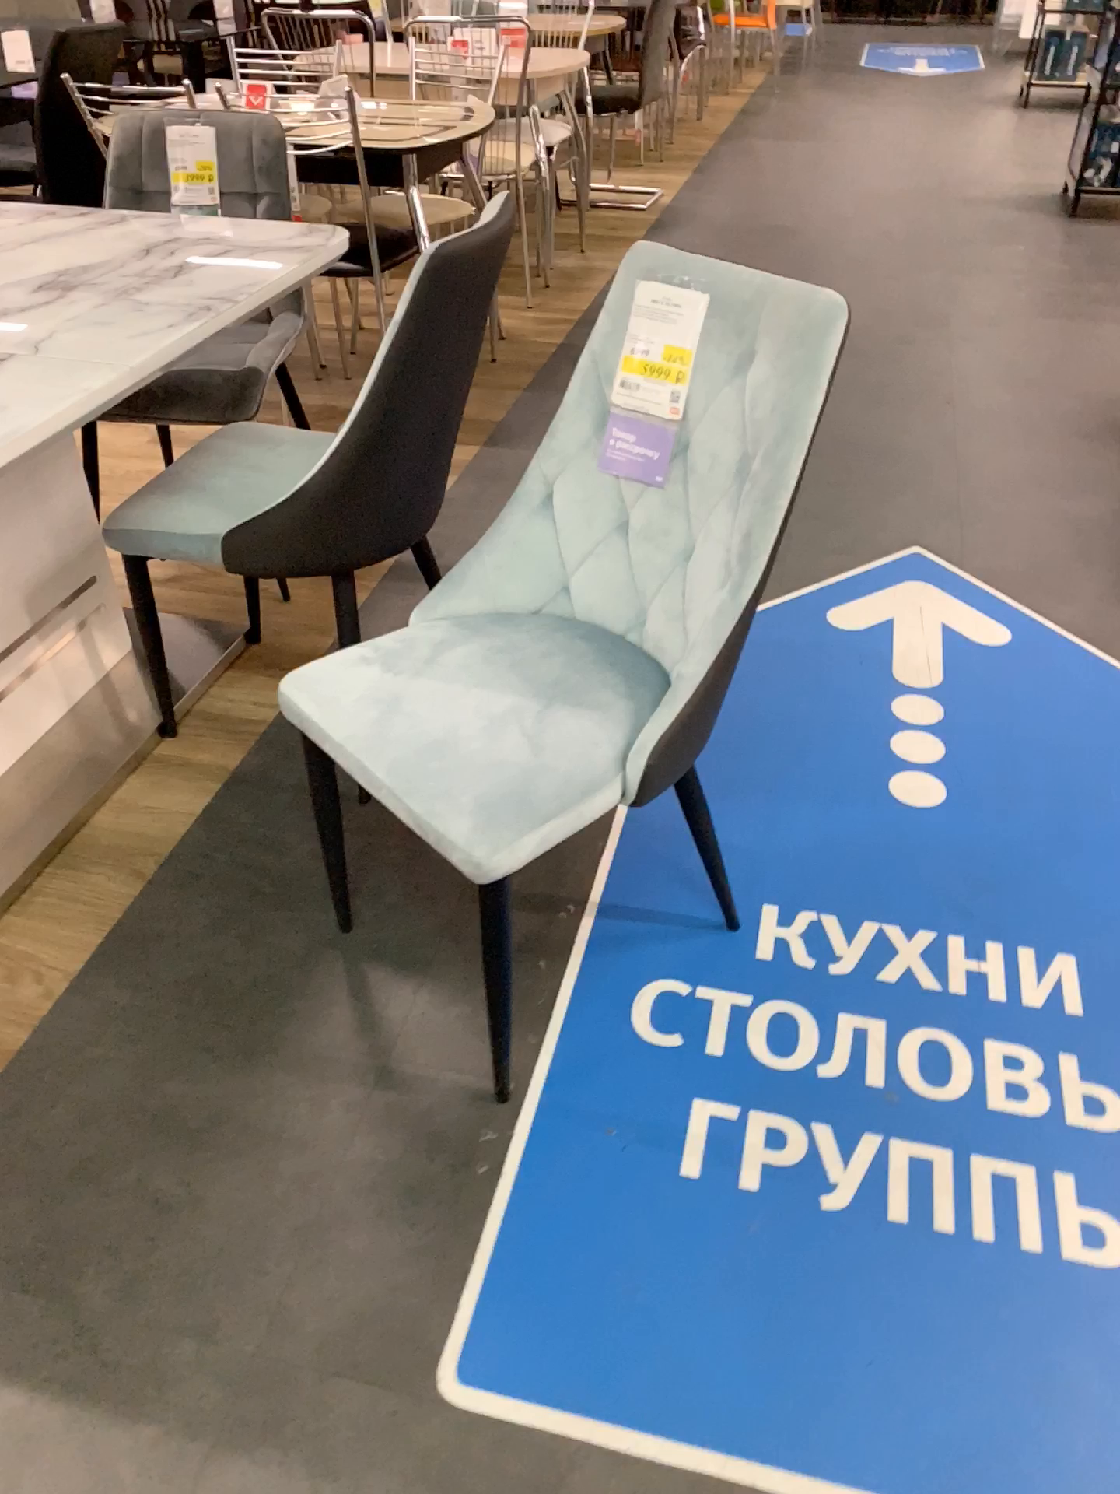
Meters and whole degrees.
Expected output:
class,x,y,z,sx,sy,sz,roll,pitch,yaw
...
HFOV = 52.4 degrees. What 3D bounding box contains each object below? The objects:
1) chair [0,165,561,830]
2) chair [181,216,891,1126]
class,x,y,z,sx,sy,sz,roll,pitch,yaw
chair,-0.391,-0.431,1.932,0.665,0.880,0.572,9,38,12
chair,-0.025,-0.104,1.425,0.551,0.885,0.472,-27,44,-31
